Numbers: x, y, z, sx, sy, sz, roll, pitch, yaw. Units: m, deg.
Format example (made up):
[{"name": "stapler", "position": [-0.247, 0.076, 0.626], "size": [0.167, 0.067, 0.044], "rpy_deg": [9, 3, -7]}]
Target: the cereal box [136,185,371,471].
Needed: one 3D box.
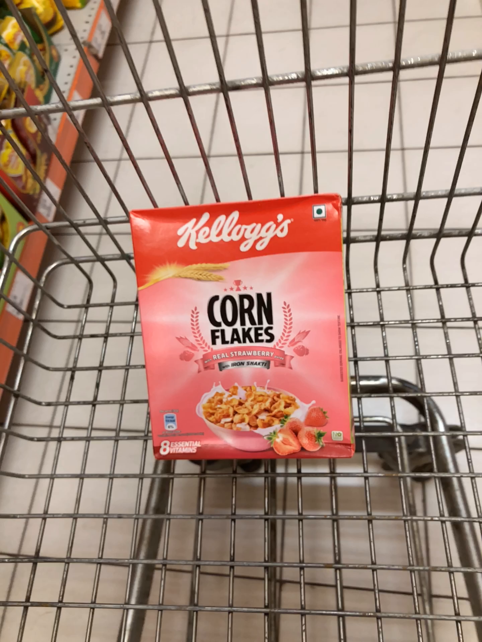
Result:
[{"name": "cereal box", "position": [0.012, 0.007, 0.369], "size": [0.140, 0.050, 0.180], "rpy_deg": [-3, 98, 8]}]
